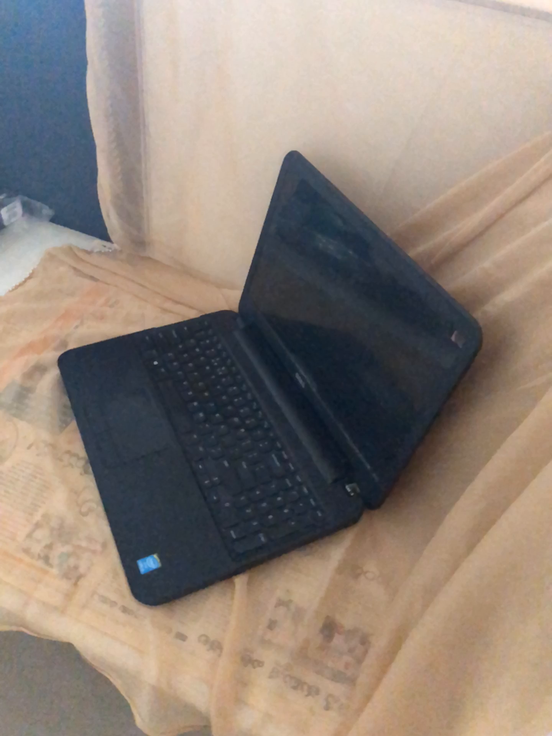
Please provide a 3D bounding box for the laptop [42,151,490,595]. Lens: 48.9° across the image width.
[{"bbox_3d":[-0.042,-0.025,0.649,0.306,0.225,0.350,-16,48,-21],"label":"laptop"}]
